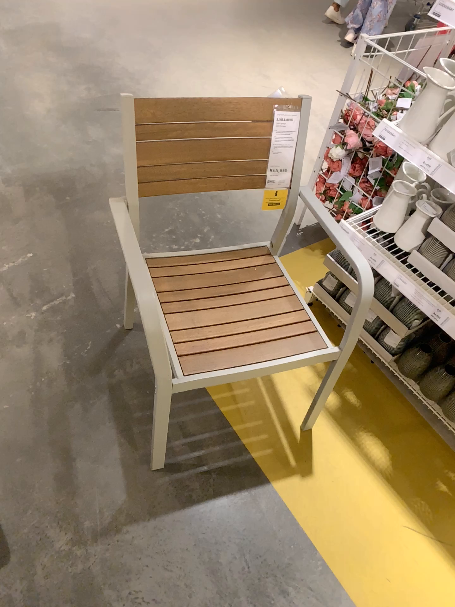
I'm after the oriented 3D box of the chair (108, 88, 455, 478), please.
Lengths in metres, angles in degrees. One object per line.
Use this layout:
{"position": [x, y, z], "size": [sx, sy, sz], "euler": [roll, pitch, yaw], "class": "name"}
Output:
{"position": [0.036, -0.044, 1.190], "size": [0.560, 0.728, 0.601], "euler": [-8, 52, -18], "class": "chair"}
